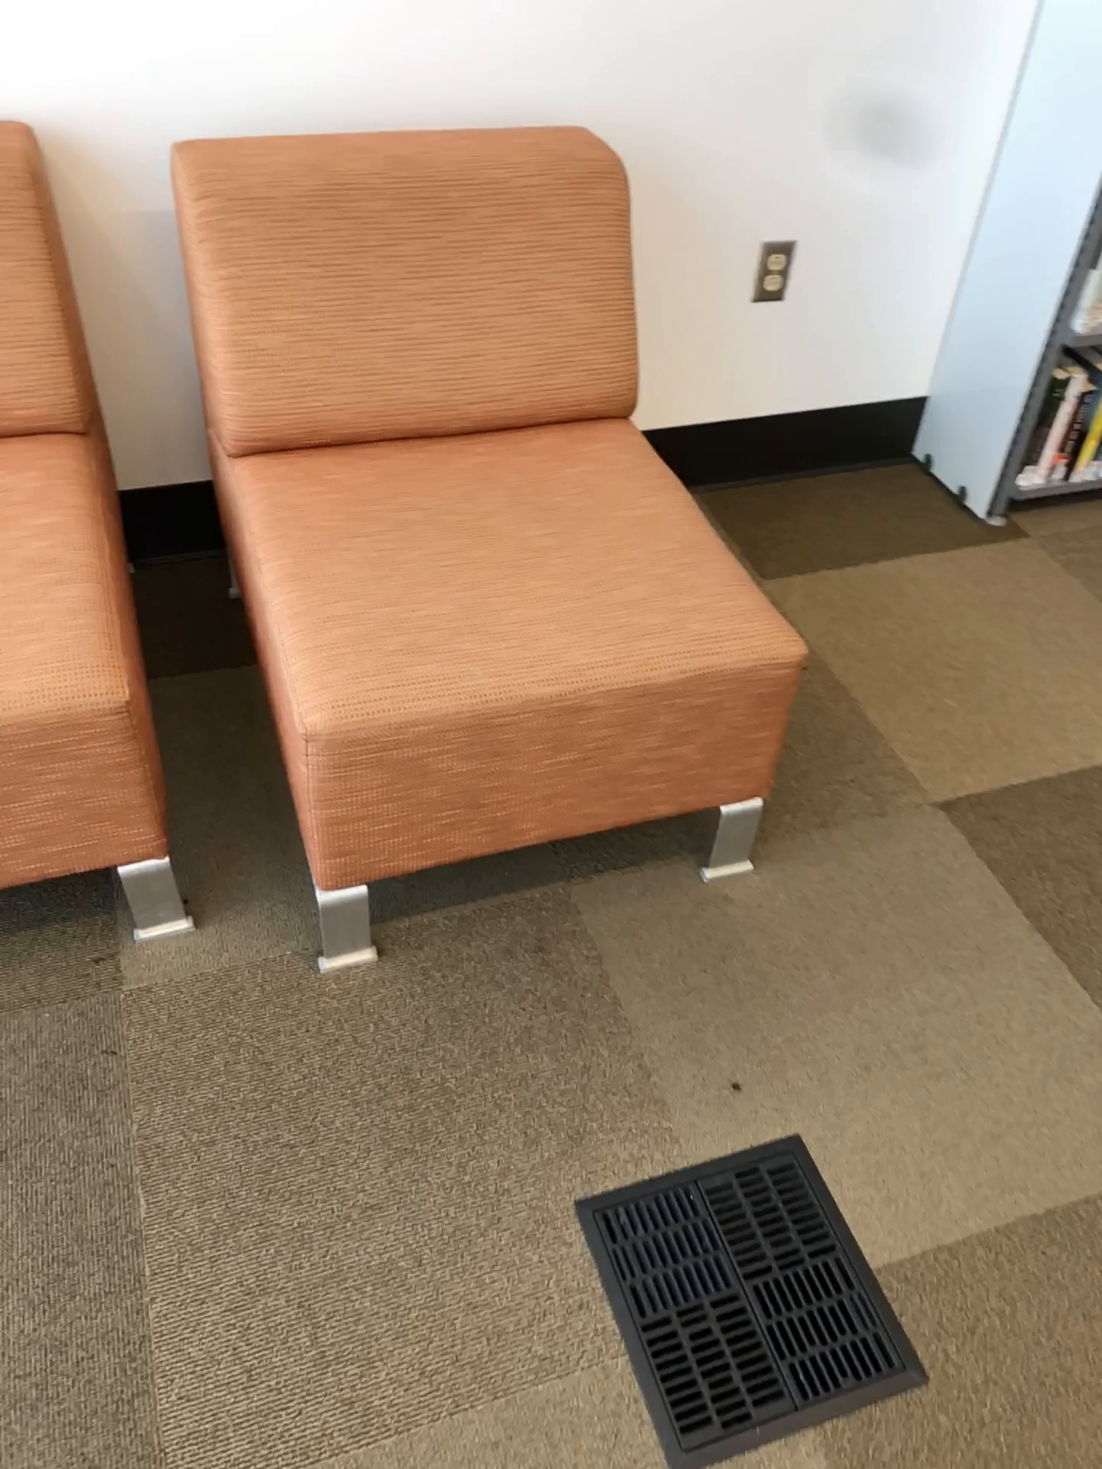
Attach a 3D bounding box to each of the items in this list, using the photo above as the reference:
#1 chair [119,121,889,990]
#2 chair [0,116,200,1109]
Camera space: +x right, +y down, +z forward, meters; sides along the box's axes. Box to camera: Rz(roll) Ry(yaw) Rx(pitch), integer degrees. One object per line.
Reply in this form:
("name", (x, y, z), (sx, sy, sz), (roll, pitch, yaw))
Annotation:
("chair", (-0.150, -0.314, 1.715), (0.694, 0.759, 0.926), (-10, 44, -16))
("chair", (-0.975, -0.229, 1.596), (0.764, 0.809, 0.936), (-11, 44, -17))
